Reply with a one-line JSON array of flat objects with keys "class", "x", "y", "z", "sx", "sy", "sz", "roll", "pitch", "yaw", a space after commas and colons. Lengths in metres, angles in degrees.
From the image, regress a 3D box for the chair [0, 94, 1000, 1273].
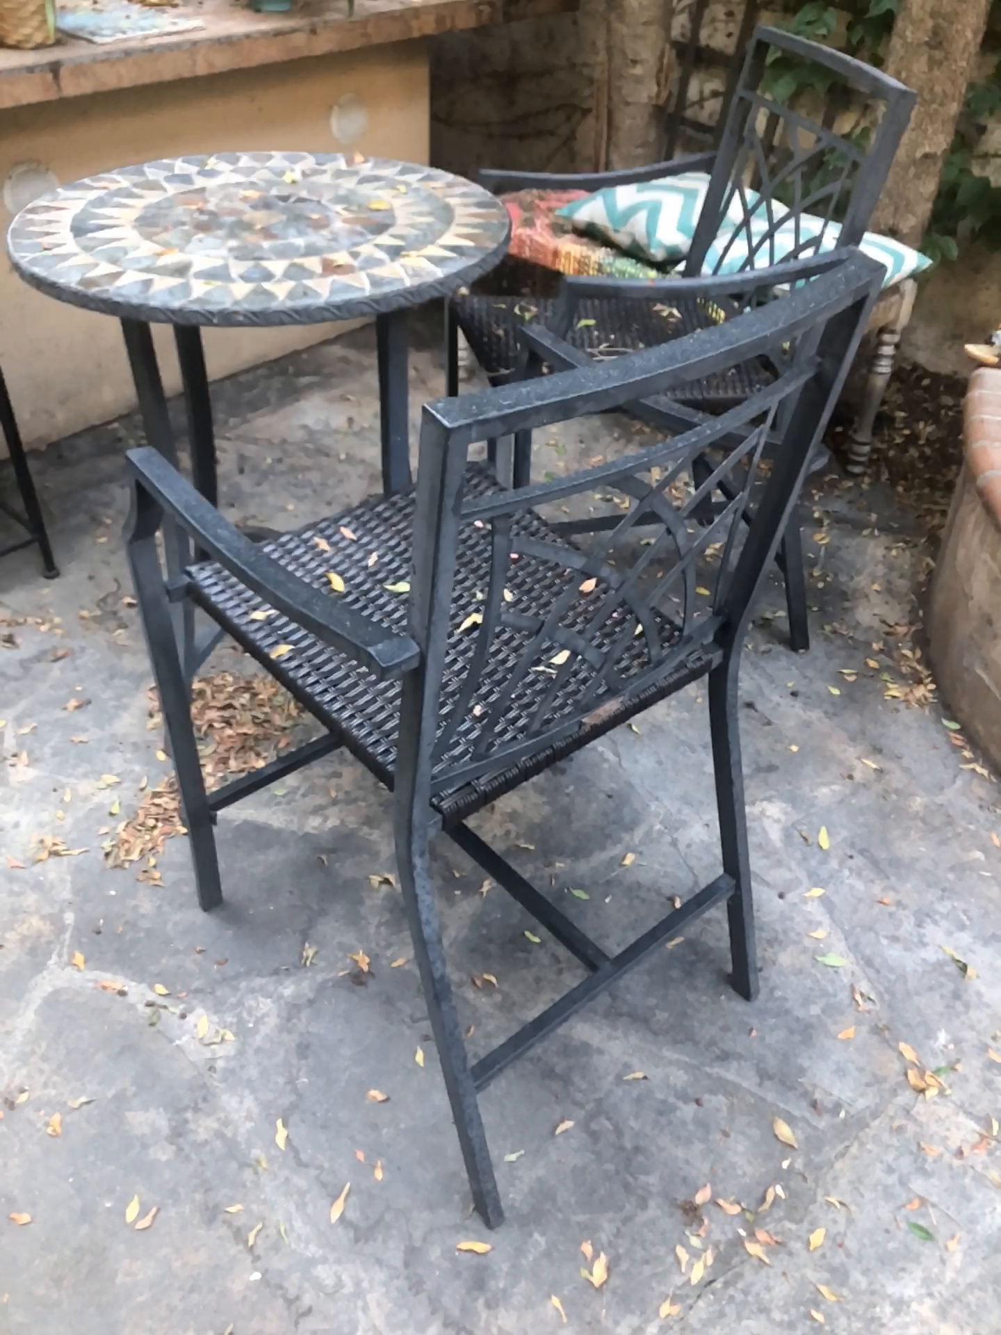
[{"class": "chair", "x": -0.002, "y": -0.029, "z": 1.240, "sx": 0.684, "sy": 0.912, "sz": 0.692, "roll": -28, "pitch": 47, "yaw": -30}]
